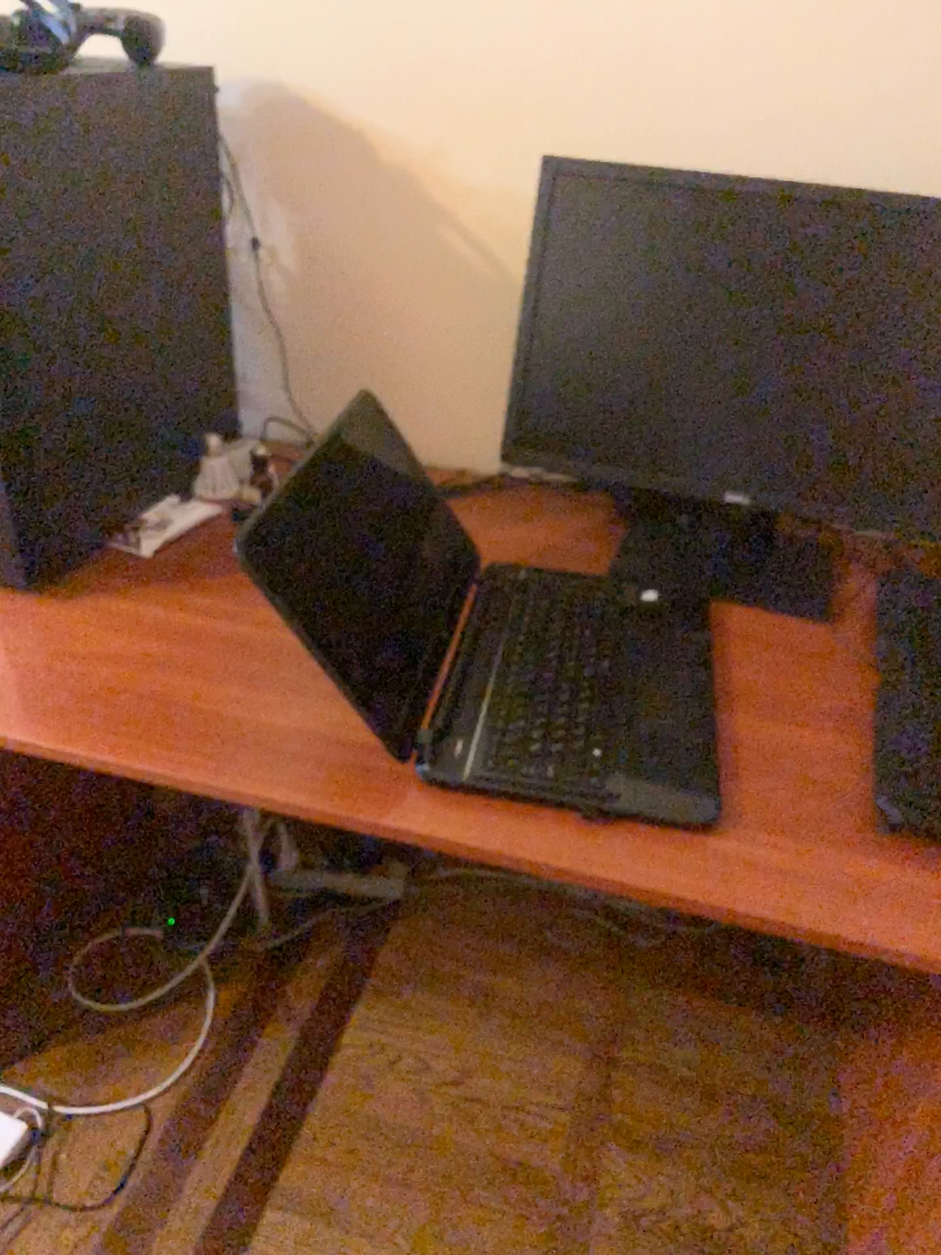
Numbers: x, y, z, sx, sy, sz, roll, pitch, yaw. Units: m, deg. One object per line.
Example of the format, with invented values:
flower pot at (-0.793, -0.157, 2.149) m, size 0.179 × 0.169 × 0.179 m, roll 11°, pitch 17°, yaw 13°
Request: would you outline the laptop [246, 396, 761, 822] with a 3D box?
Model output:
laptop at (0.043, -0.048, 0.877) m, size 0.368 × 0.181 × 0.368 m, roll 8°, pitch 32°, yaw 9°
